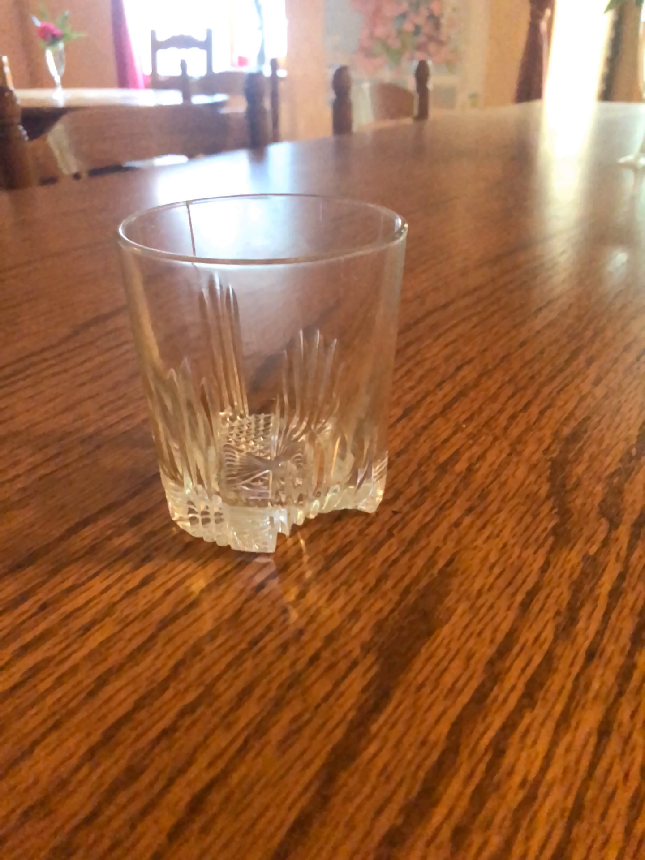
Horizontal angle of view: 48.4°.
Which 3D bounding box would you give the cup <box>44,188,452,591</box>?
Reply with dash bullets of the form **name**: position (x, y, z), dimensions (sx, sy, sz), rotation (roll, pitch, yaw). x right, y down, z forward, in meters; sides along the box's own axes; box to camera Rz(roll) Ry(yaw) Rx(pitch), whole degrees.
- **cup**: position (-0.016, -0.021, 0.219), dimensions (0.080, 0.084, 0.085), rotation (-1, 27, 0)
